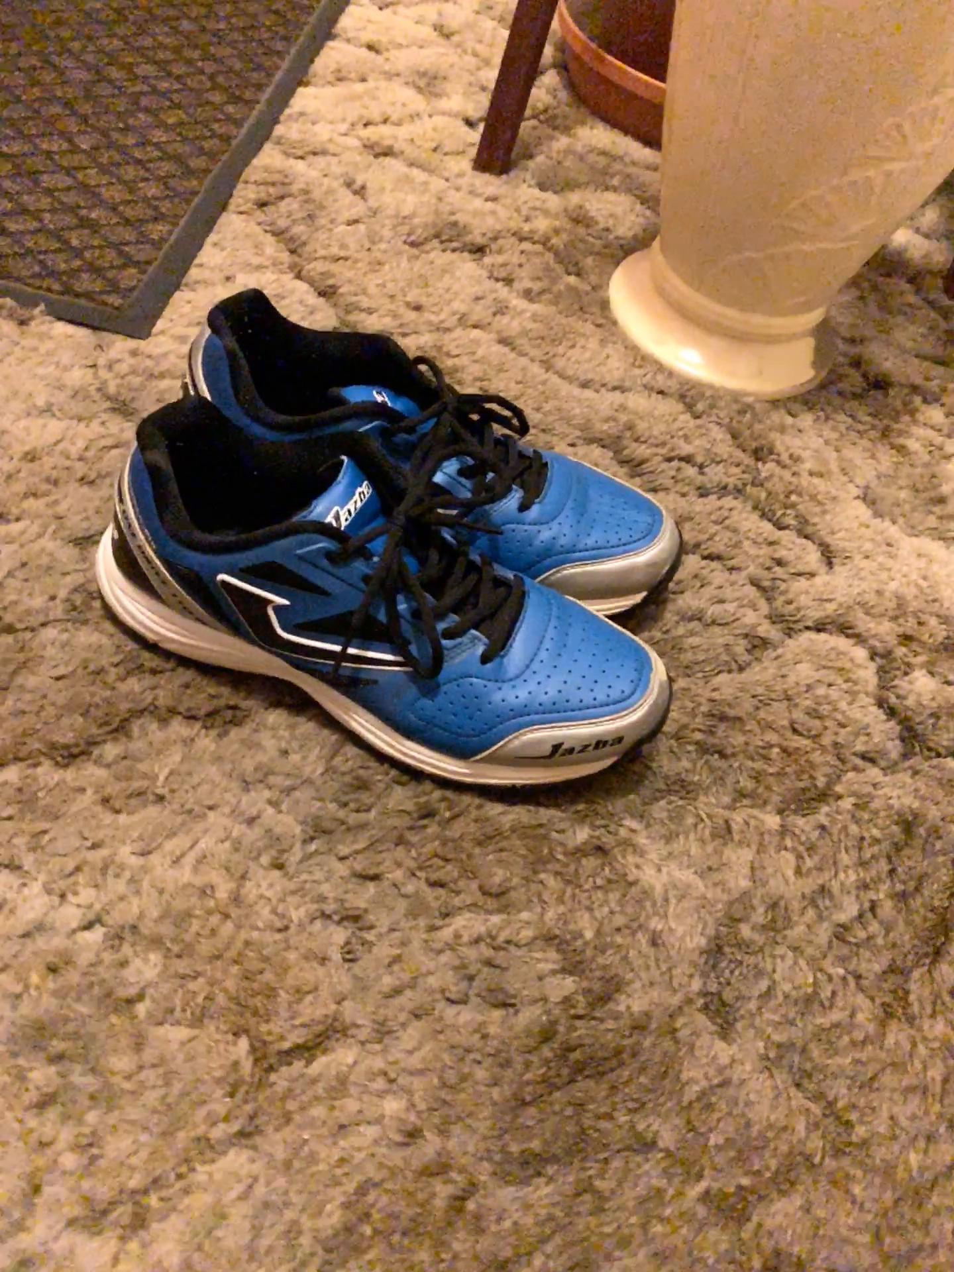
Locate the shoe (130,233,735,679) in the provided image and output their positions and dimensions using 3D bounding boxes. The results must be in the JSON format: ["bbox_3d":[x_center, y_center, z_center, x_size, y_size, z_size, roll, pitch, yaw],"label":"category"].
[{"bbox_3d":[-0.022,-0.091,0.507,0.270,0.119,0.101,18,51,2],"label":"shoe"}]

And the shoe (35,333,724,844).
[{"bbox_3d":[-0.045,-0.022,0.468,0.280,0.119,0.101,21,51,5],"label":"shoe"}]
